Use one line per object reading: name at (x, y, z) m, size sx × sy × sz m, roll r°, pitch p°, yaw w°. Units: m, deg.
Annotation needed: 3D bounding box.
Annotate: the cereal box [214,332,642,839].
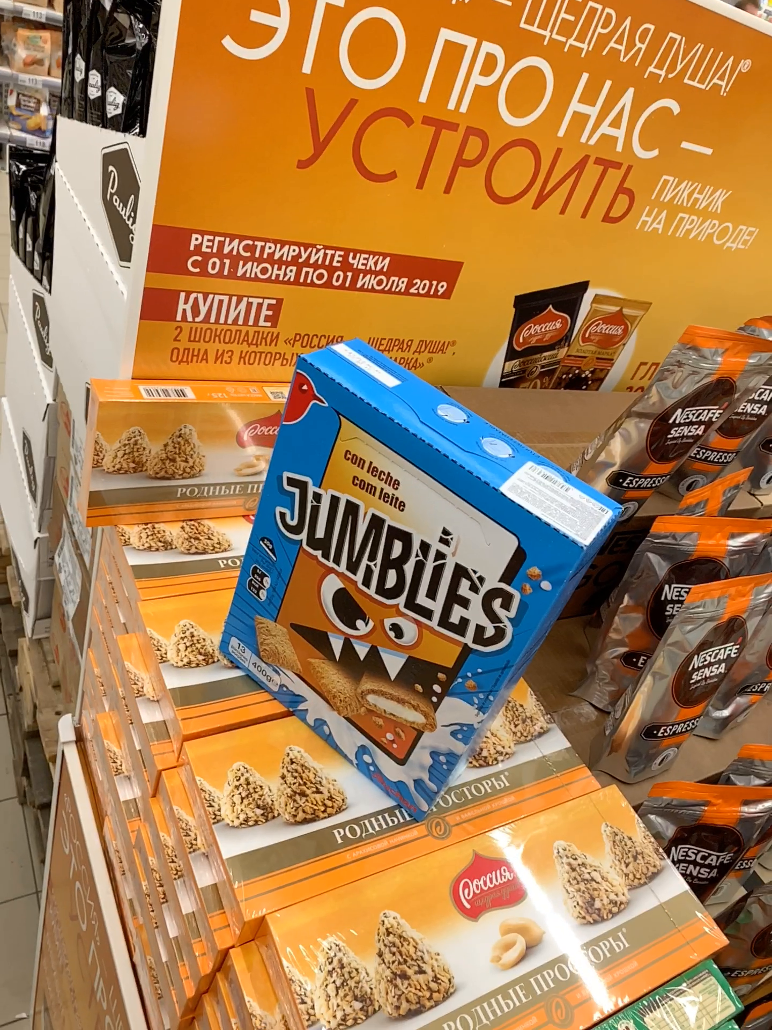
cereal box at (0.005, 0.051, 0.508) m, size 0.200 × 0.258 × 0.060 m, roll 35°, pitch 38°, yaw 19°
